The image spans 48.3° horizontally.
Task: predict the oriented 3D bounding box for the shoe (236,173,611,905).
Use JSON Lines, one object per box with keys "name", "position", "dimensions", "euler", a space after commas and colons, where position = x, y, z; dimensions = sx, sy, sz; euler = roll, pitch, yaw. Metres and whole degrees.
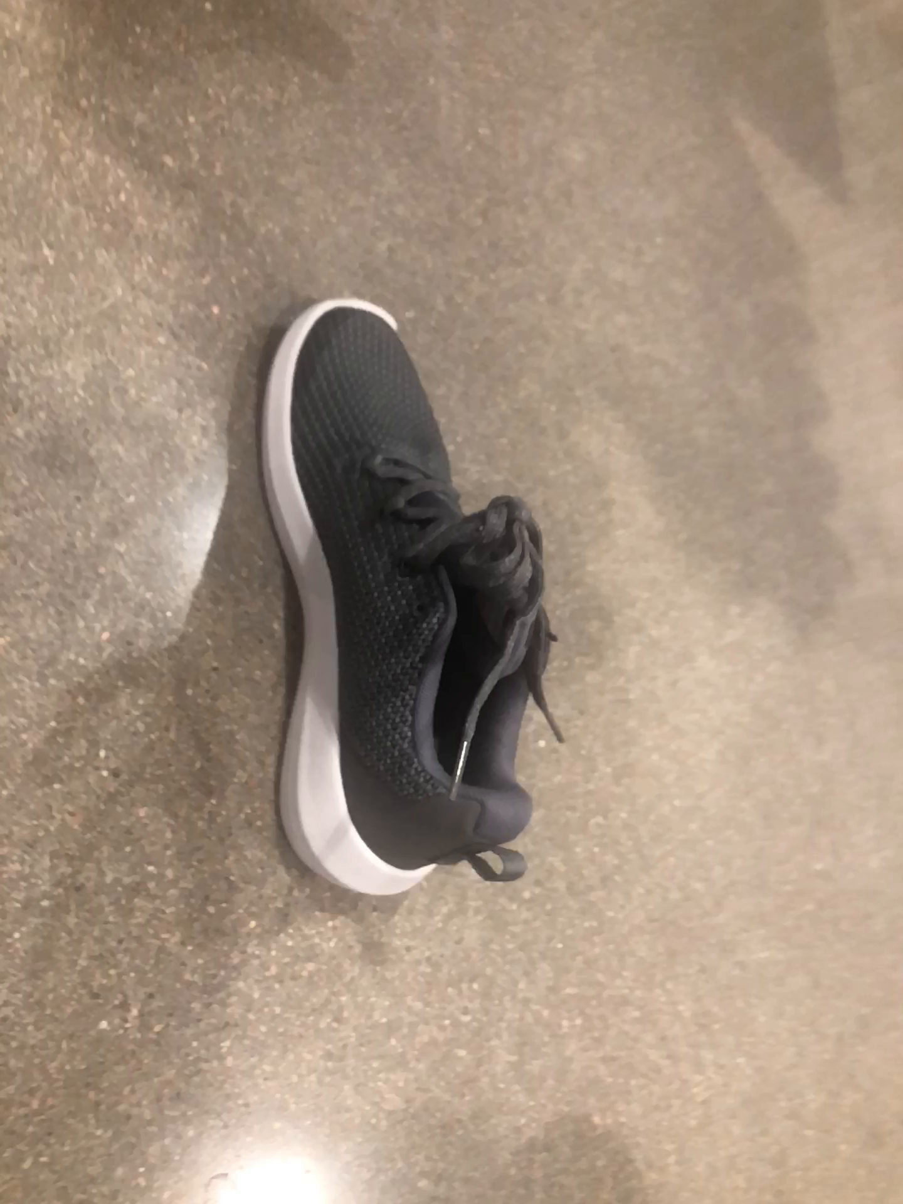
{"name": "shoe", "position": [-0.011, -0.016, 0.416], "dimensions": [0.117, 0.084, 0.265], "euler": [13, 70, -43]}
